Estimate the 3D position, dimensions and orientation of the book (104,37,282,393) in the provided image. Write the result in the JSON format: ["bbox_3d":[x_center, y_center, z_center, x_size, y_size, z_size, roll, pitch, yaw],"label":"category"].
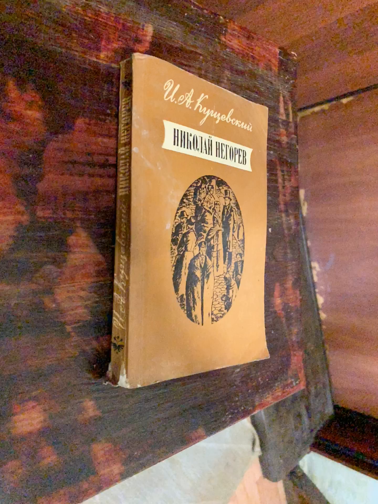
[{"bbox_3d":[0.010,-0.019,0.260,0.131,0.024,0.190,1,90,-40],"label":"book"}]
